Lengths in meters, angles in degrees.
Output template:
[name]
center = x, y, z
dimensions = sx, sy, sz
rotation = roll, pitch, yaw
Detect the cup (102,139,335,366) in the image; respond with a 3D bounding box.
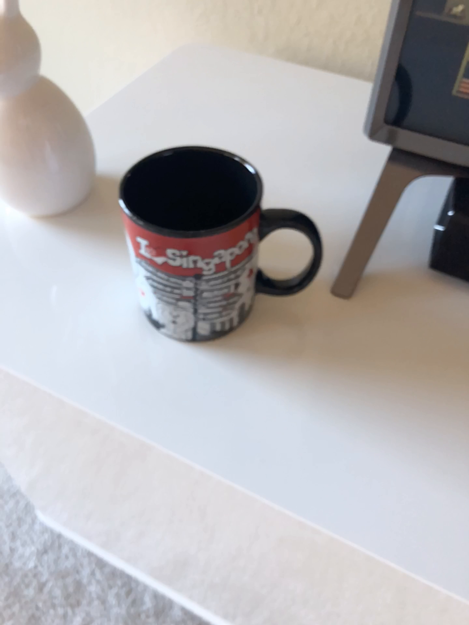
[cup]
center = -0.006, -0.035, 0.340
dimensions = 0.120, 0.110, 0.080
rotation = 5, 49, 3
